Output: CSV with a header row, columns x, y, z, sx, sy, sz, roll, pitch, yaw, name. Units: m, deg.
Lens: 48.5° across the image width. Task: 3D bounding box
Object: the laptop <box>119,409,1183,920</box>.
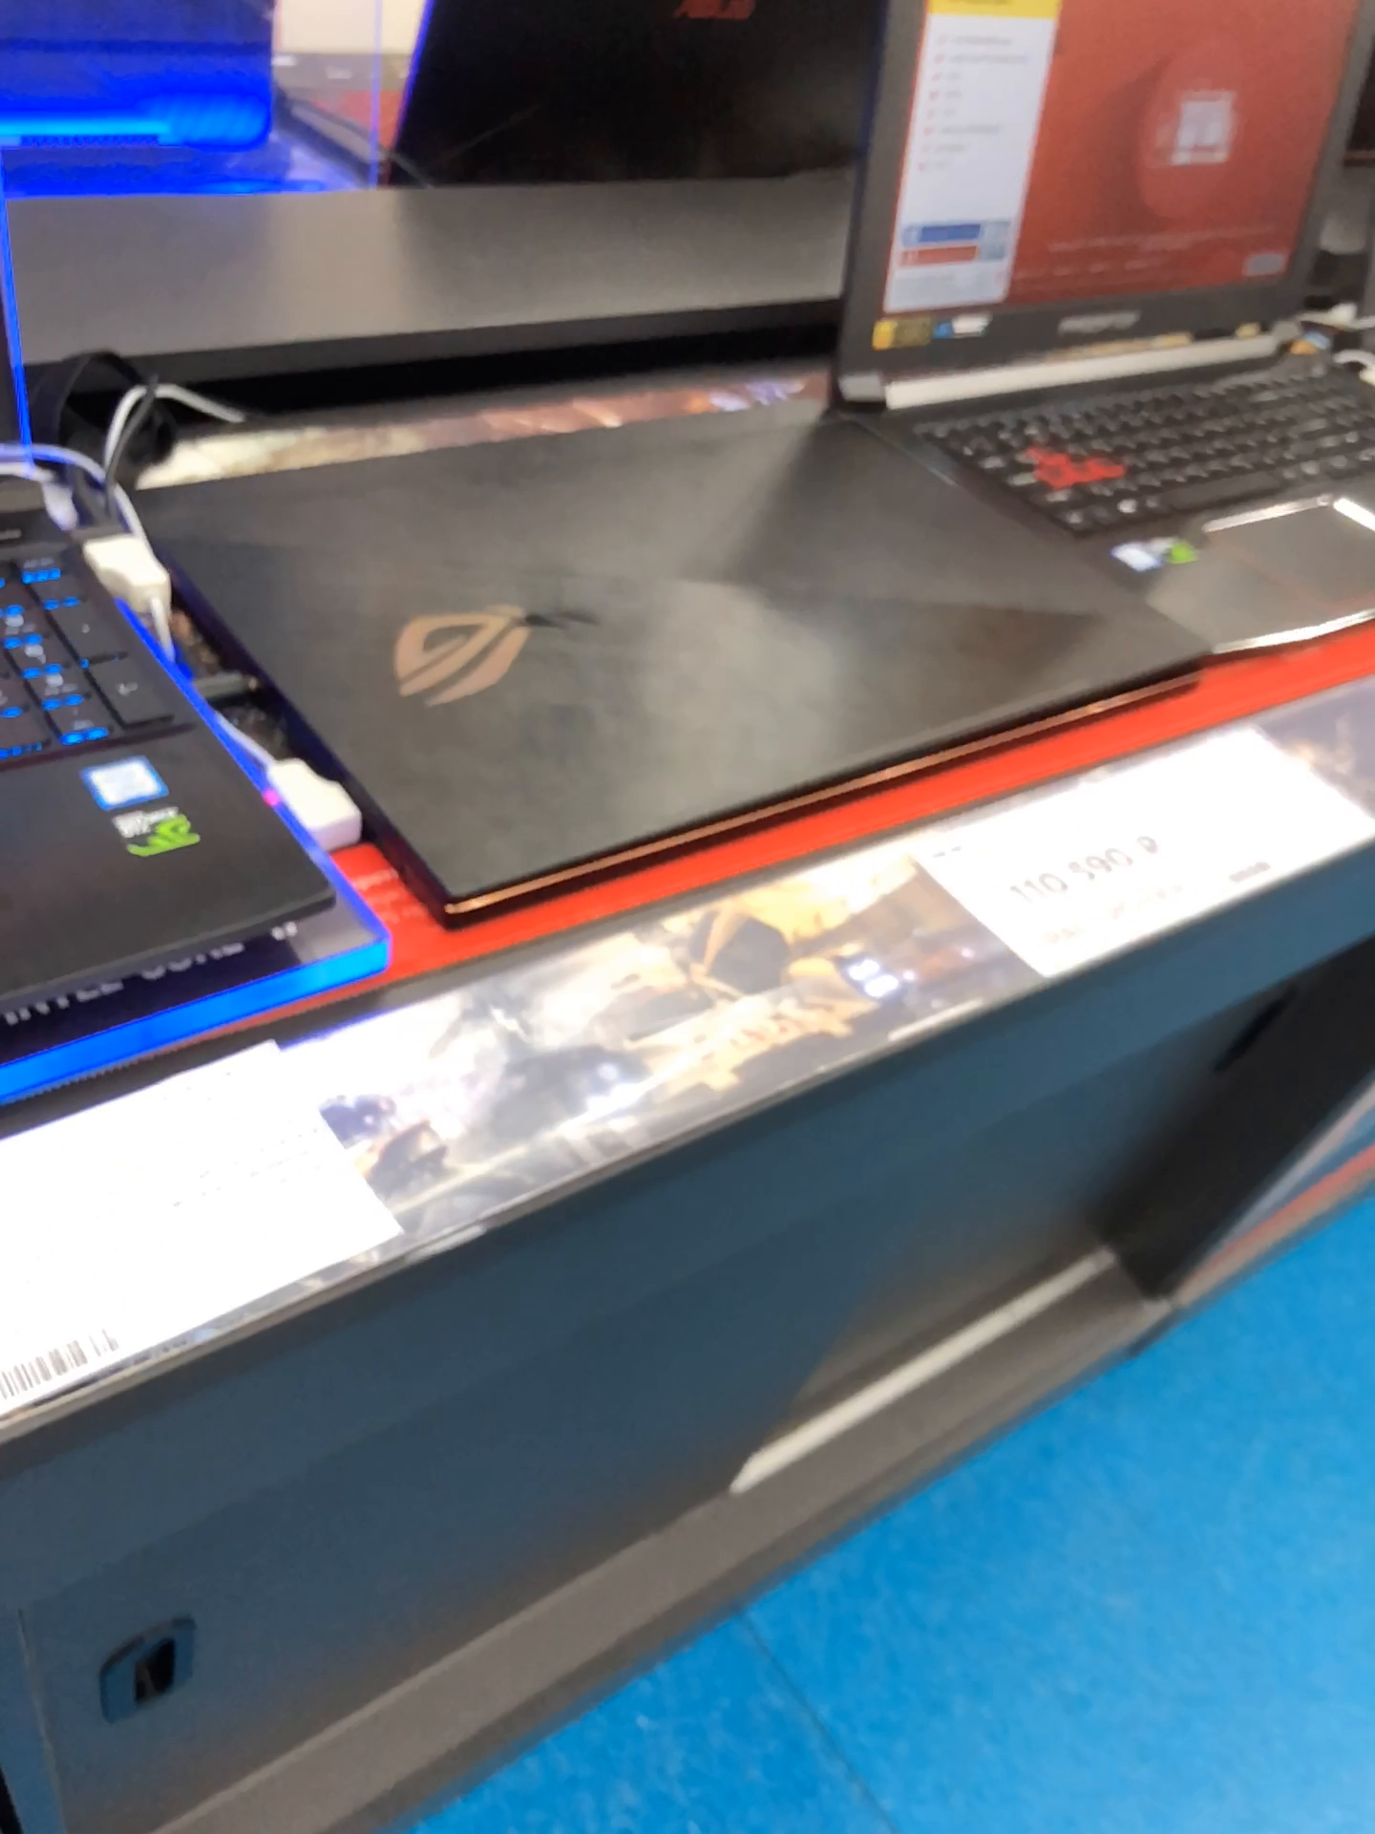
x,y,z,sx,sy,sz,roll,pitch,yaw,name
-0.007,-0.128,0.609,0.349,0.006,0.254,-19,50,-32,laptop
